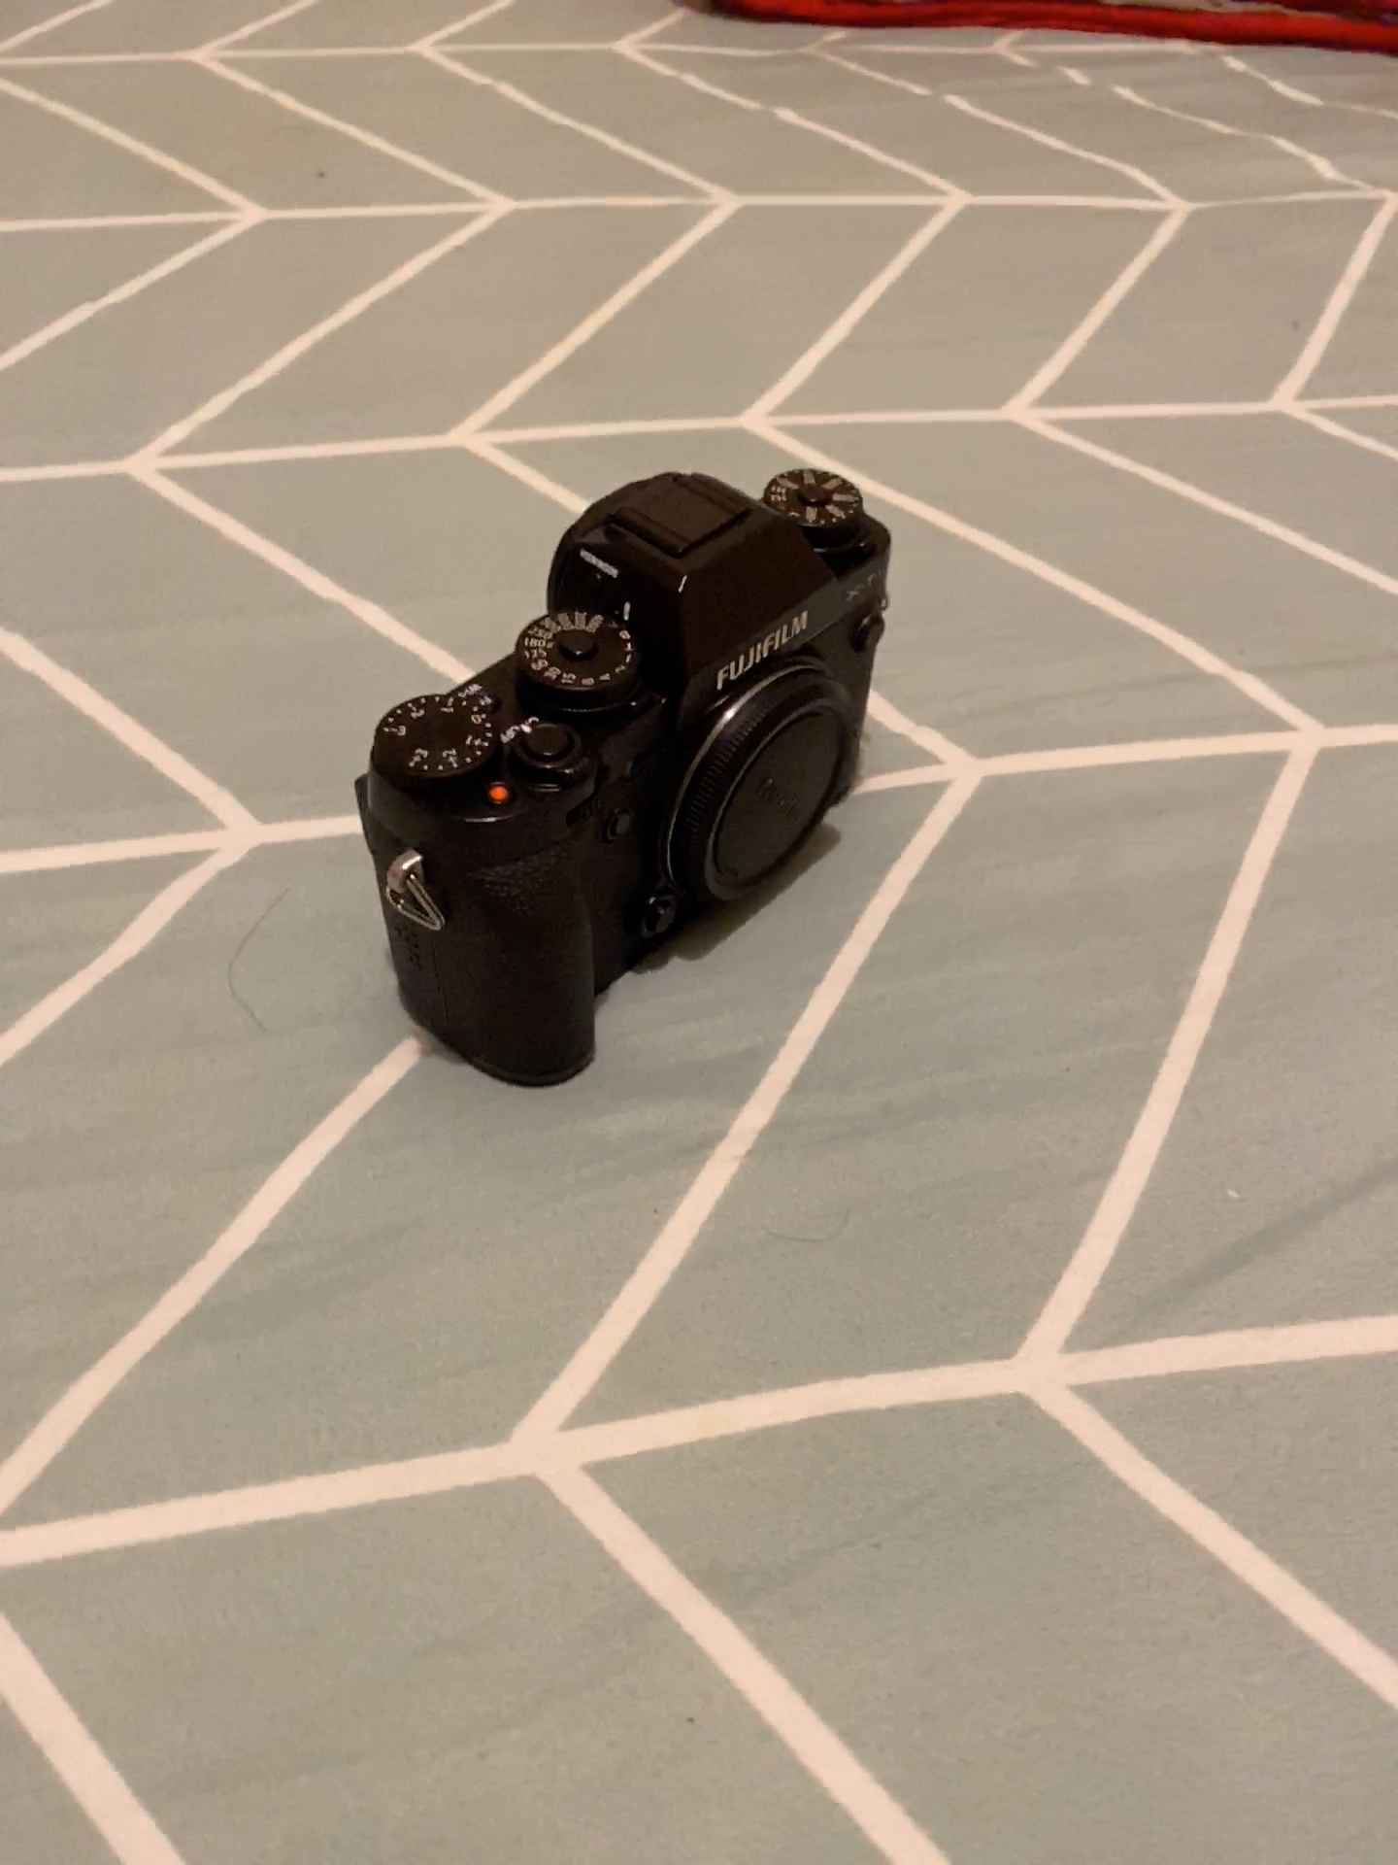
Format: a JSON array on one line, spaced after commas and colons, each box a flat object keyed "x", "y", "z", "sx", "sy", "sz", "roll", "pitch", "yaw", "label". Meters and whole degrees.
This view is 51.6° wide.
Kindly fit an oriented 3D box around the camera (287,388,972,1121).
[{"x": -0.010, "y": -0.040, "z": 0.301, "sx": 0.052, "sy": 0.087, "sz": 0.131, "roll": 35, "pitch": 56, "yaw": 23, "label": "camera"}]
